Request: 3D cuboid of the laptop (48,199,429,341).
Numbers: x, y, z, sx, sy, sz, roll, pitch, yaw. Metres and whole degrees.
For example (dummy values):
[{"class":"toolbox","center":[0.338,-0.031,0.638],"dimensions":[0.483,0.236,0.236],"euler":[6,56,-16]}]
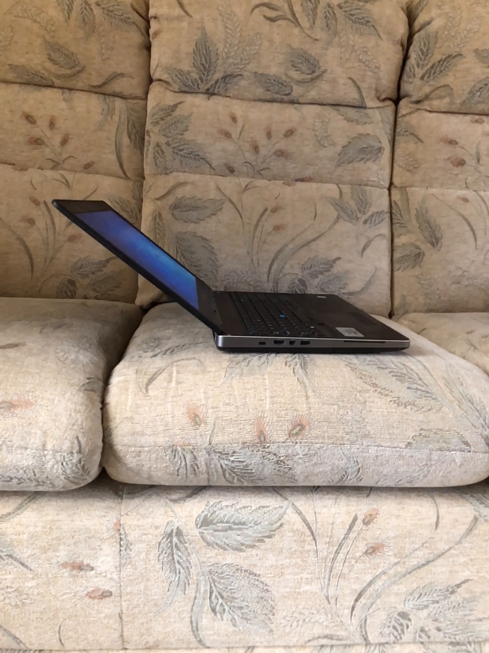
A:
[{"class":"laptop","center":[-0.022,-0.104,0.834],"dimensions":[0.451,0.157,0.356],"euler":[2,15,-6]}]
